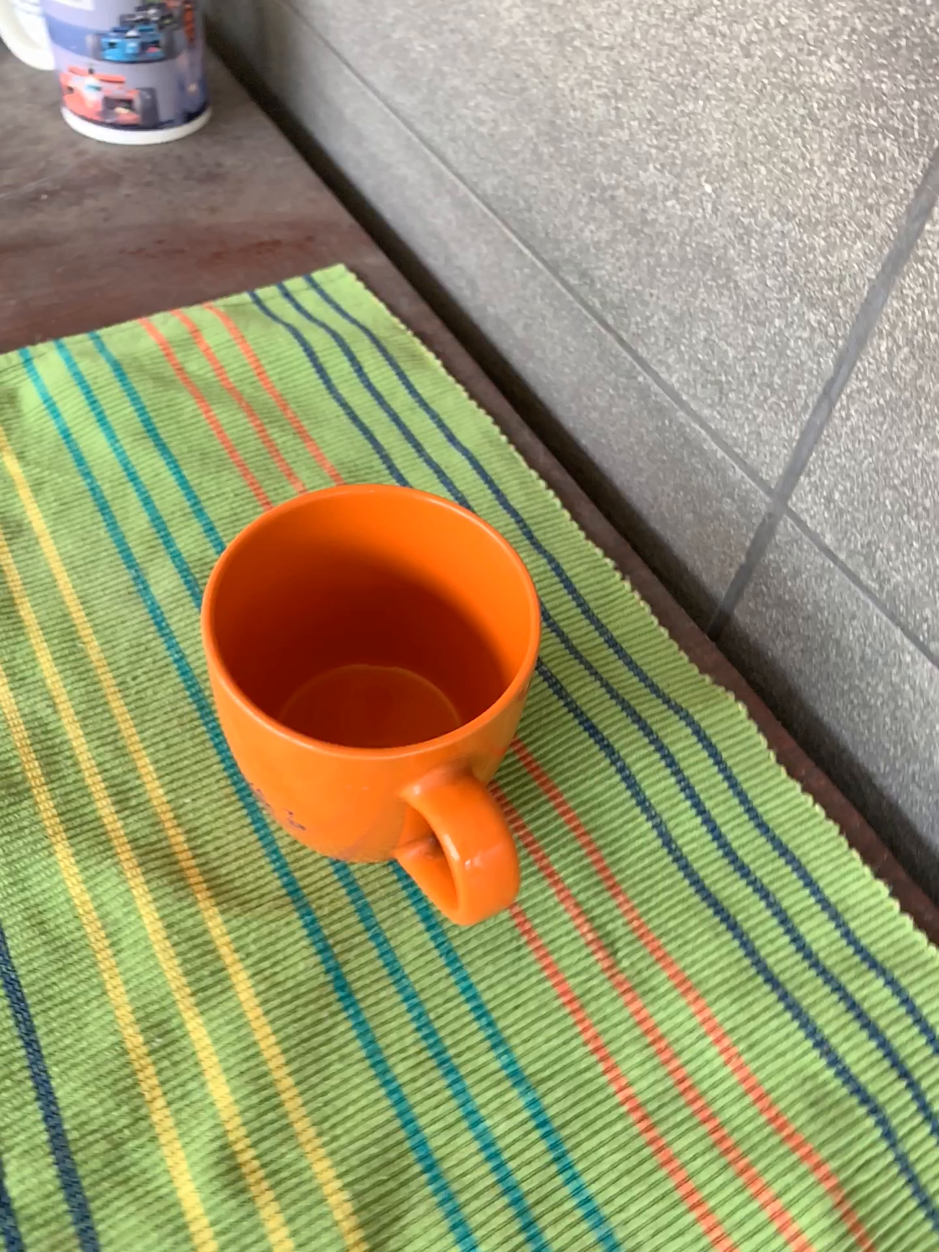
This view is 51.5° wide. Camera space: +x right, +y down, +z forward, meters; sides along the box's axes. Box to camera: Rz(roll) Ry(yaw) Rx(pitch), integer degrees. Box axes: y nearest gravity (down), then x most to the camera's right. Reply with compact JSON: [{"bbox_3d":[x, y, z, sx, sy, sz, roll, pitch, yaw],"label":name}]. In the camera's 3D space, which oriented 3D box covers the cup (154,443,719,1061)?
[{"bbox_3d":[-0.016,0.030,0.267,0.090,0.080,0.120,-22,58,-23],"label":"cup"}]
